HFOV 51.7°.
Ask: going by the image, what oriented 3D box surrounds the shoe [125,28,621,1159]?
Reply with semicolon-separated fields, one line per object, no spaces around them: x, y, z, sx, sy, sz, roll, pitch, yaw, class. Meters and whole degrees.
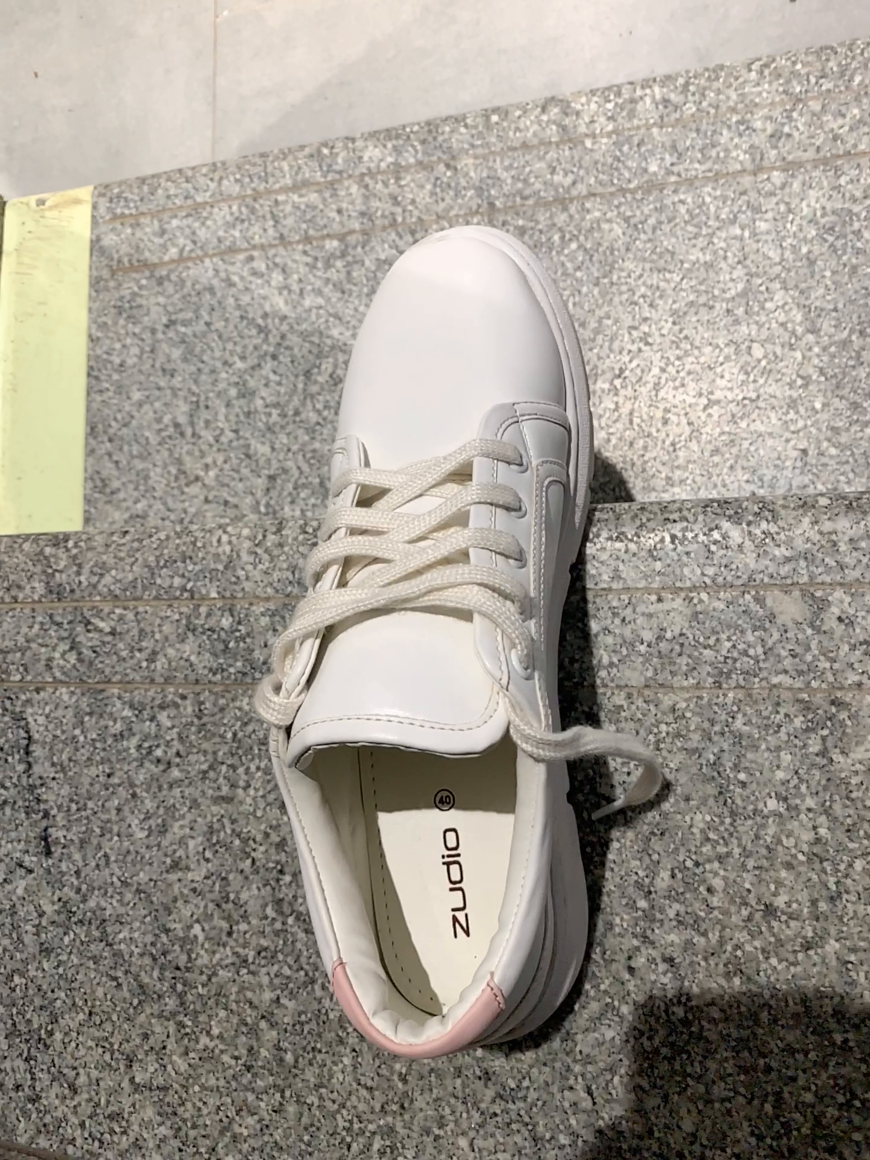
-0.009;0.016;0.274;0.110;0.110;0.290;-2;84;18;shoe
